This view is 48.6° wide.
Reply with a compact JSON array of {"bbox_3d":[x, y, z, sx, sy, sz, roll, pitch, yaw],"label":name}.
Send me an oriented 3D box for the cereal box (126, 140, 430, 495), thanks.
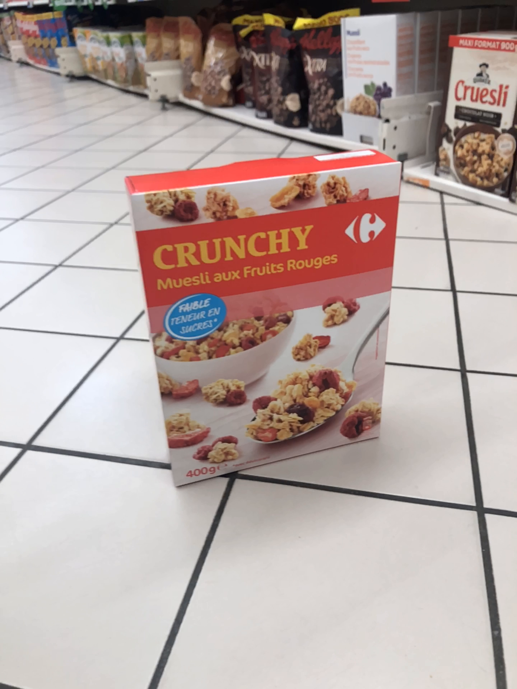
[{"bbox_3d":[0.018,-0.018,0.454,0.200,0.249,0.060,-11,31,-15],"label":"cereal box"}]
